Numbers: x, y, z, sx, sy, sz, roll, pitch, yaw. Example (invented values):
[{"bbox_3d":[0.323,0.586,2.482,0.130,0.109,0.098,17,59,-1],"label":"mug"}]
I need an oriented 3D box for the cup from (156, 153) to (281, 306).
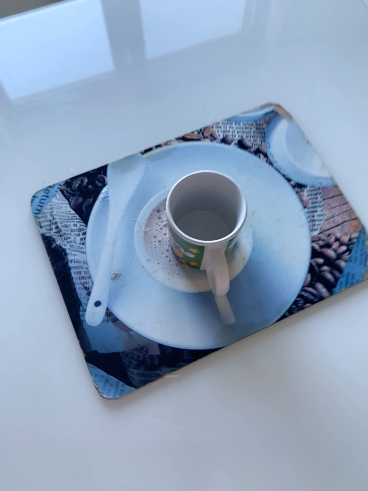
[{"bbox_3d":[0.031,-0.015,0.421,0.094,0.077,0.134,-13,71,-5],"label":"cup"}]
